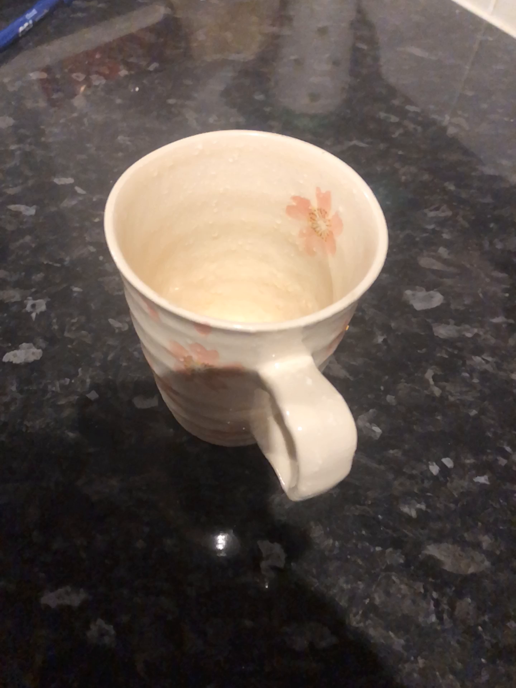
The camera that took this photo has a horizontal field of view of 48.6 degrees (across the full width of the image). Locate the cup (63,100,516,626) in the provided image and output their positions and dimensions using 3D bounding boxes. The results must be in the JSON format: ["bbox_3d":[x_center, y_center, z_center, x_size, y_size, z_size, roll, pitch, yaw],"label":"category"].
[{"bbox_3d":[0.002,0.003,0.199,0.090,0.100,0.130,-17,58,-17],"label":"cup"}]
